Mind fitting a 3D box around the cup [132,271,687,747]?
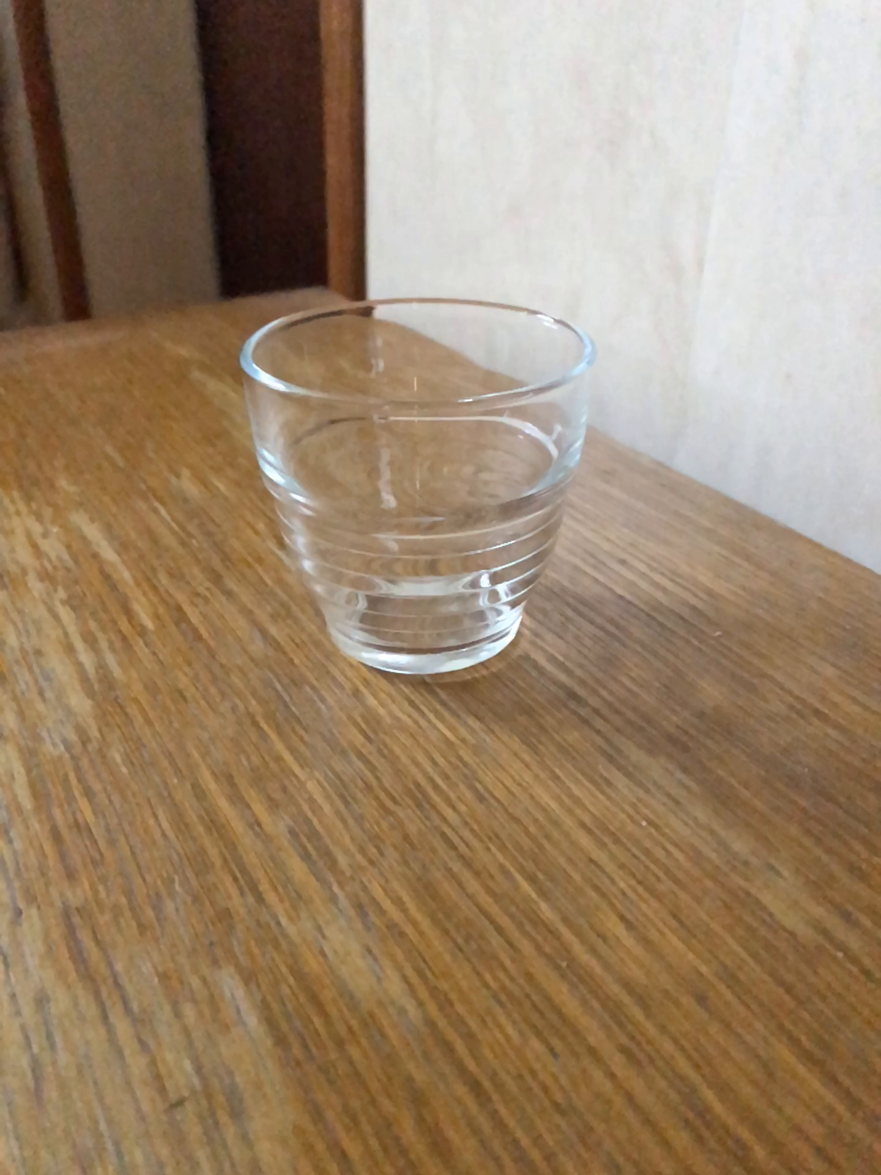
[{"bbox_3d":[-0.005,-0.025,0.215,0.080,0.060,0.080,1,30,-1],"label":"cup"}]
